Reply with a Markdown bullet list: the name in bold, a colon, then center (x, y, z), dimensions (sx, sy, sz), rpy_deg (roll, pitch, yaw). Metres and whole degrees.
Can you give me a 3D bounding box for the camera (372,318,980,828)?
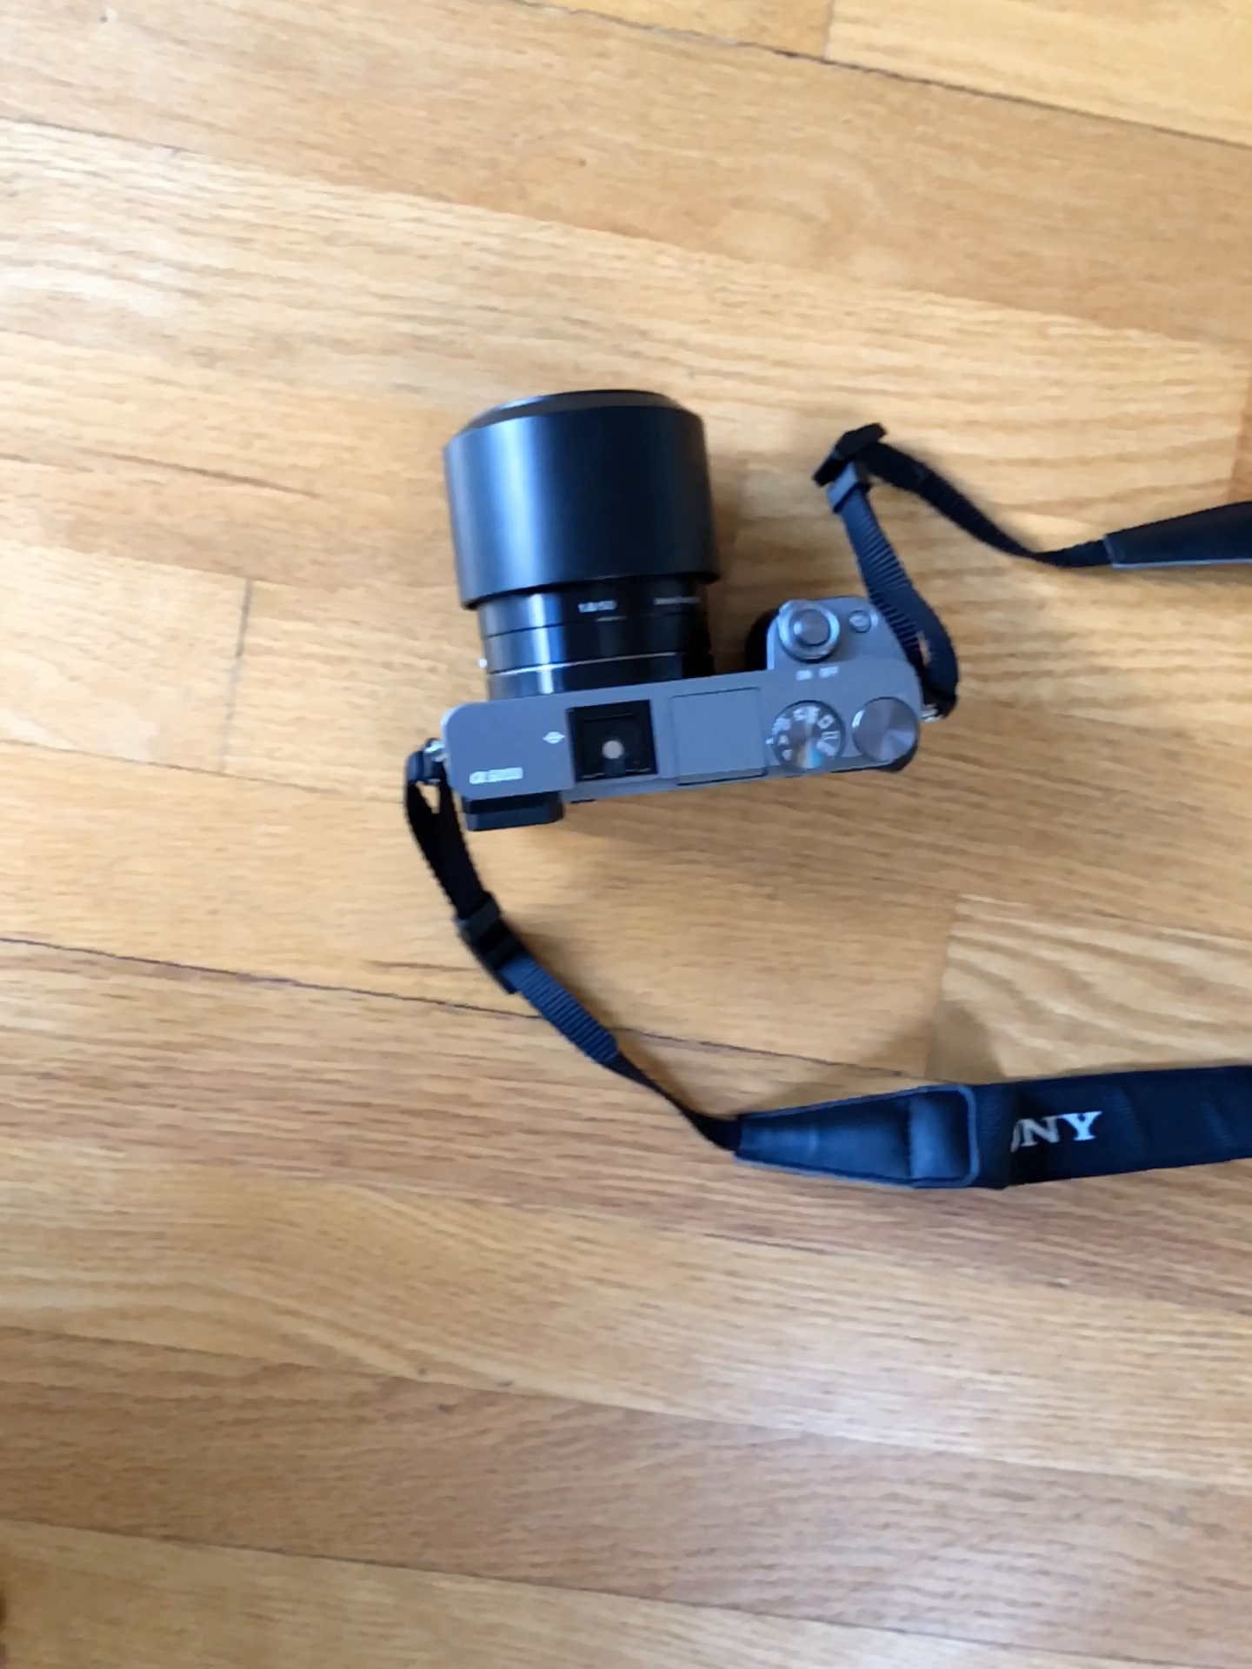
- **camera**: center (0.011, -0.067, 0.377), dimensions (0.136, 0.079, 0.106), rpy_deg (-8, 95, -3)
